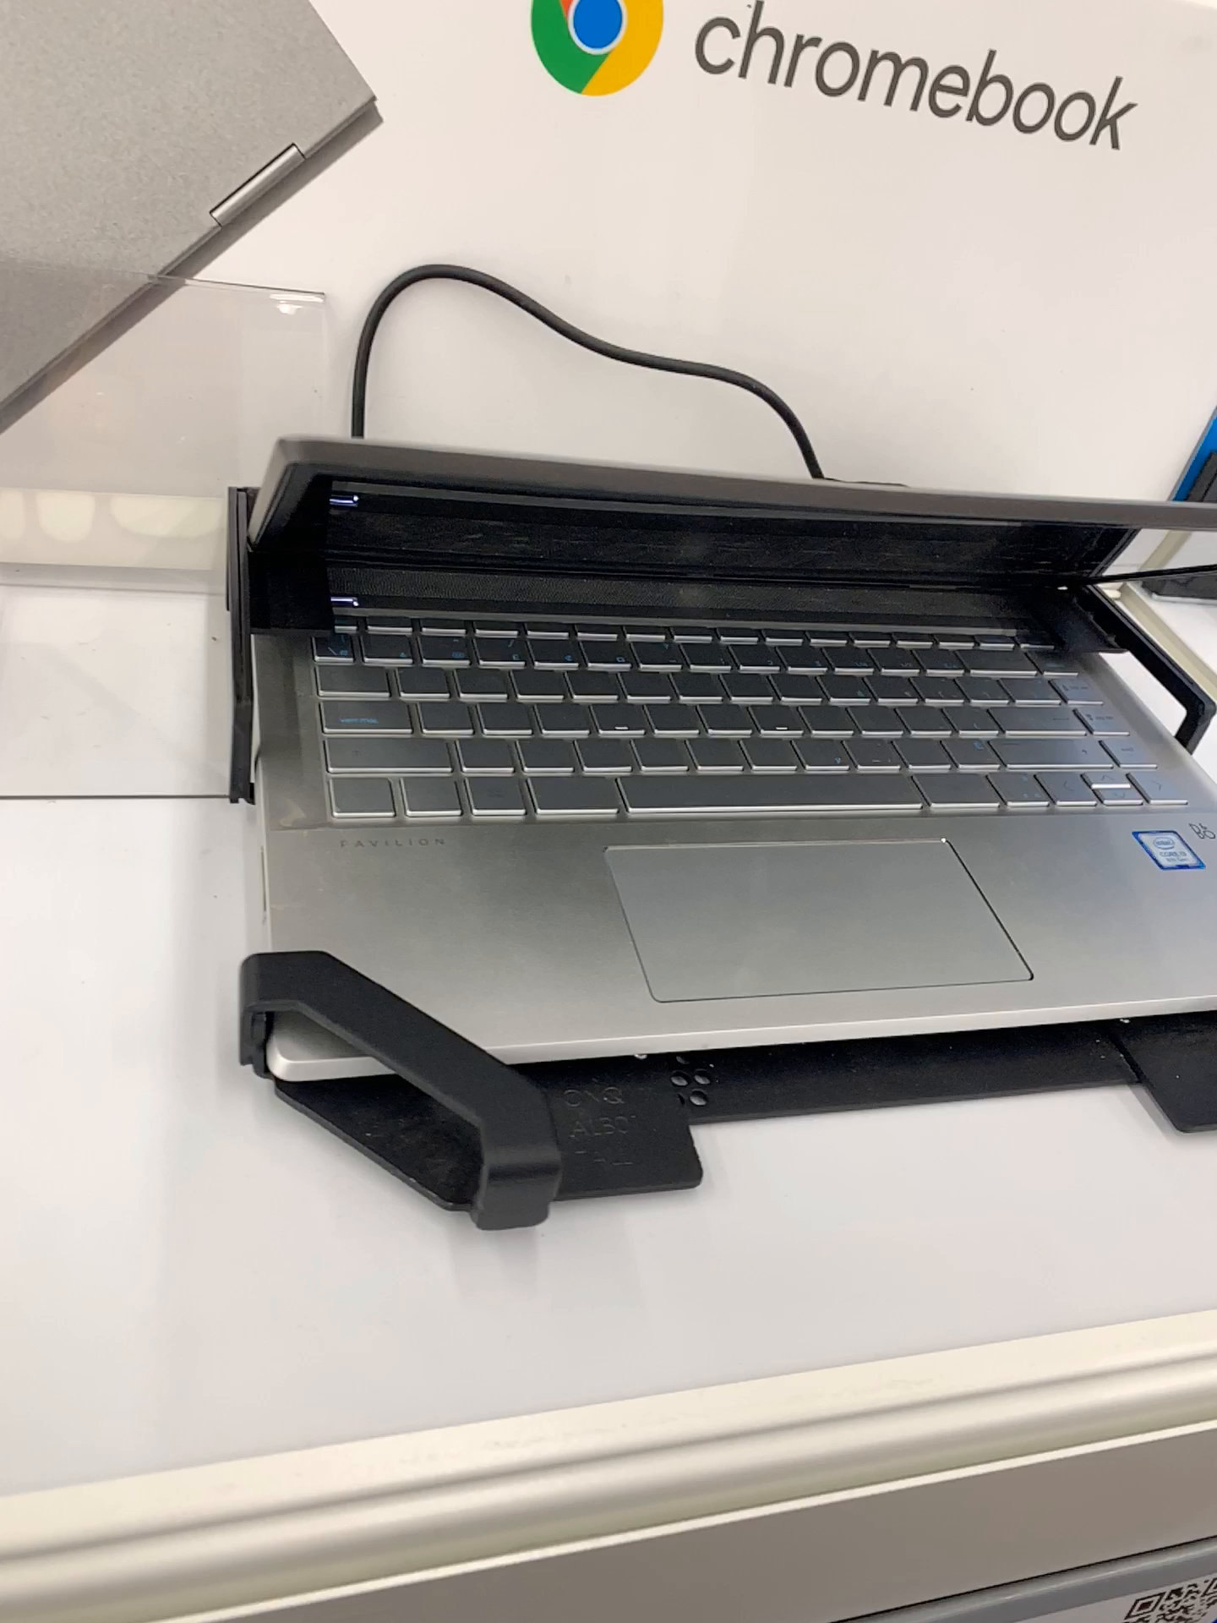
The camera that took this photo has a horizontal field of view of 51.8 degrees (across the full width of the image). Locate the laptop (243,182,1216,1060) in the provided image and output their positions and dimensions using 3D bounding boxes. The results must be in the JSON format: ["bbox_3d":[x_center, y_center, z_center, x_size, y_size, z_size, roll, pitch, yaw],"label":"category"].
[{"bbox_3d":[0.058,-0.058,0.328,0.283,0.111,0.194,-1,41,-16],"label":"laptop"}]
